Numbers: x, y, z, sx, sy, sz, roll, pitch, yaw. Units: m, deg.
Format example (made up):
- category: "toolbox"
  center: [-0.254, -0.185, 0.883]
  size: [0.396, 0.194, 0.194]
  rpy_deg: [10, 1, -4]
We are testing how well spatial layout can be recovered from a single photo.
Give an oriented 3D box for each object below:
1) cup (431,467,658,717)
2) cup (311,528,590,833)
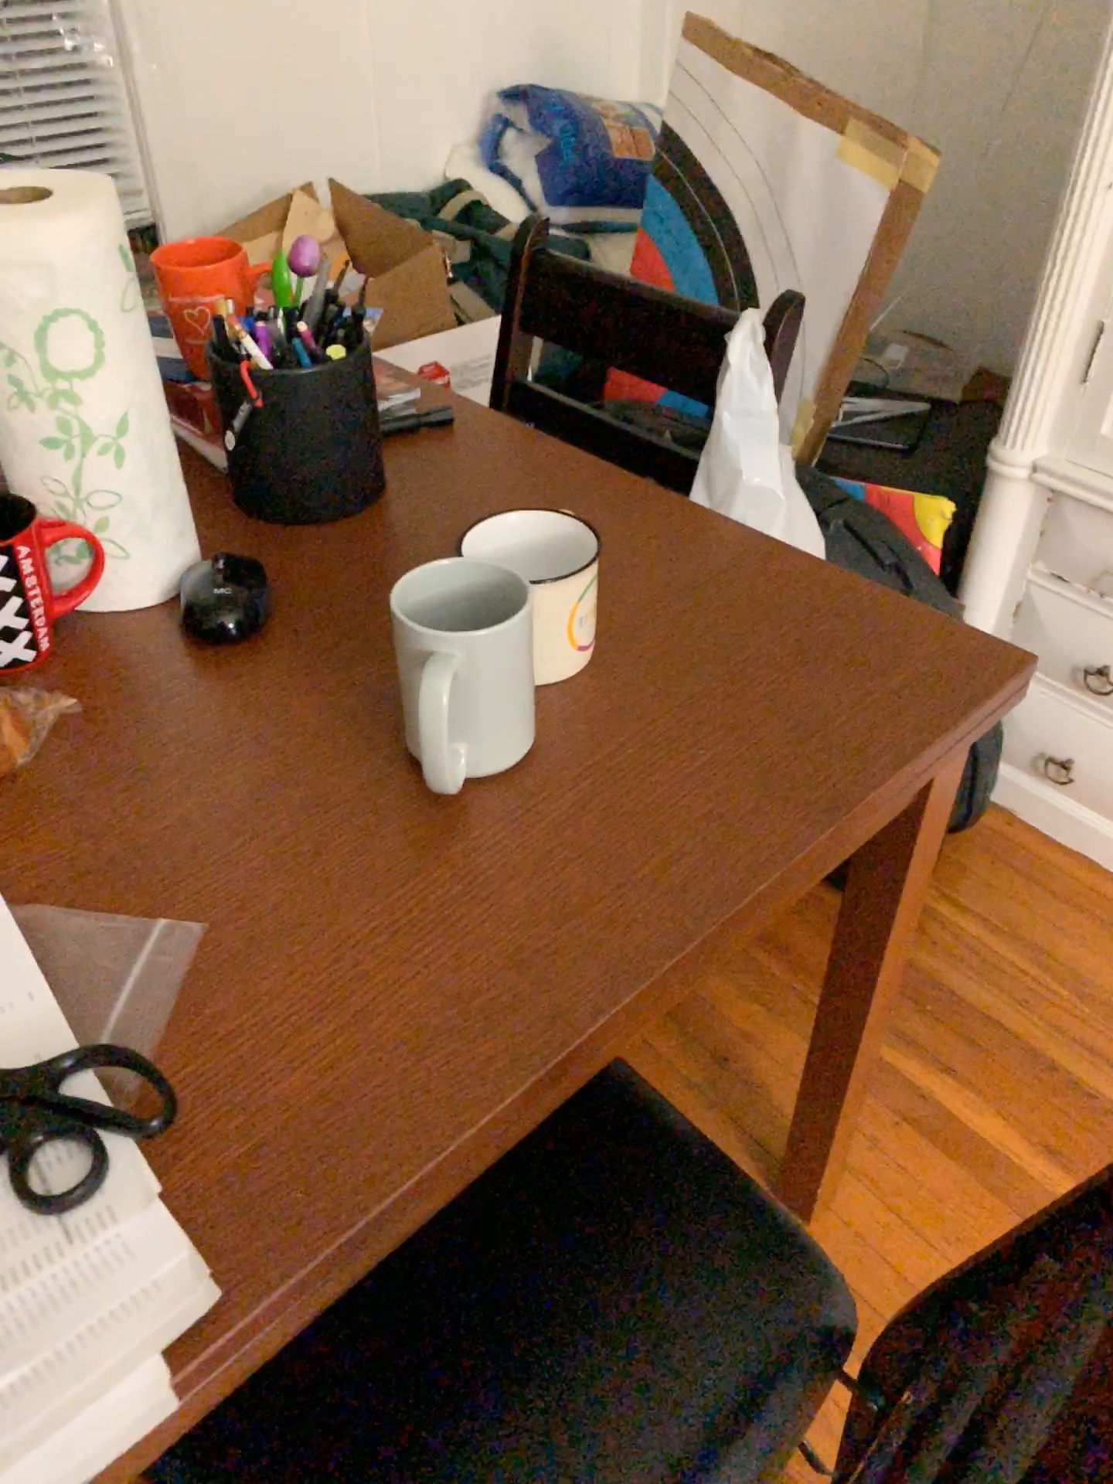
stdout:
- category: "cup"
  center: [-0.005, -0.107, 0.790]
  size: [0.100, 0.099, 0.130]
  rpy_deg: [19, 44, 22]
- category: "cup"
  center: [-0.057, -0.041, 0.683]
  size: [0.100, 0.099, 0.141]
  rpy_deg: [19, 43, 21]
